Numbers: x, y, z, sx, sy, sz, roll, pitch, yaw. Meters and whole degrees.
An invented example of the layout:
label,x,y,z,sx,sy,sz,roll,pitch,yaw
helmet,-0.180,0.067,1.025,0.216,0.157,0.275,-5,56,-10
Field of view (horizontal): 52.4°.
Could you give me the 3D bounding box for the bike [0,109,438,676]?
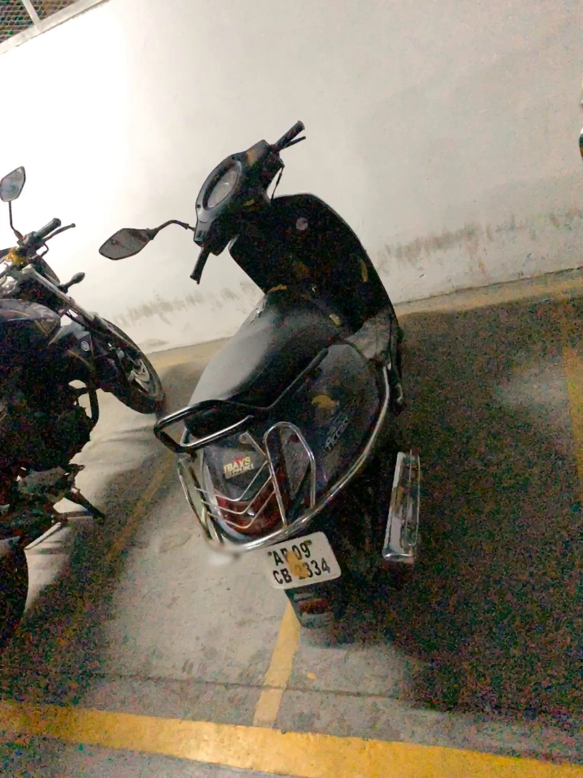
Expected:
label,x,y,z,sx,sy,sz,roll,pitch,yaw
bike,-0.030,-0.092,2.078,0.653,1.239,1.537,-15,32,17
